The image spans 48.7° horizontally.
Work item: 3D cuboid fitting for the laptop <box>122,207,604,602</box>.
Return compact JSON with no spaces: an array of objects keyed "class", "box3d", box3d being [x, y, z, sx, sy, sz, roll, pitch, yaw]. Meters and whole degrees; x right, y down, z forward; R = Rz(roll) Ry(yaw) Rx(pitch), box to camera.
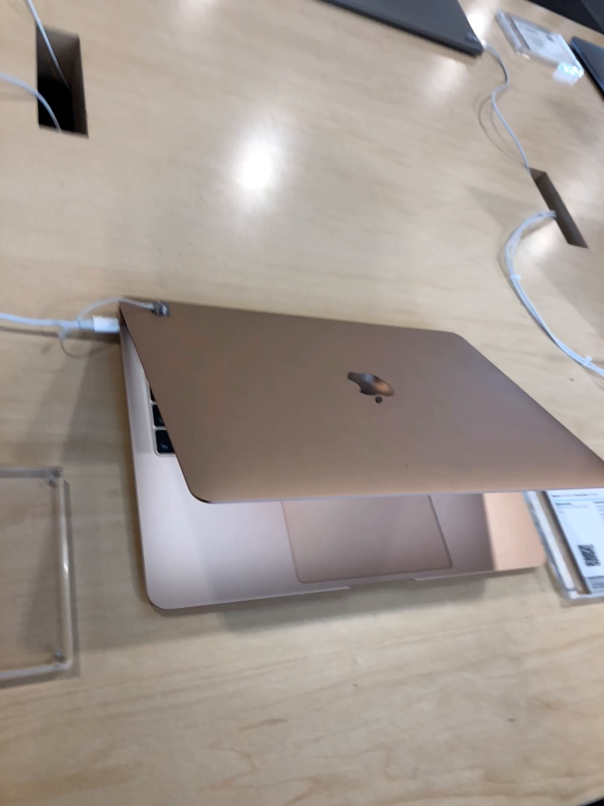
[{"class":"laptop","box3d":[0.044,-0.001,0.439,0.289,0.093,0.203,2,57,-28]}]
